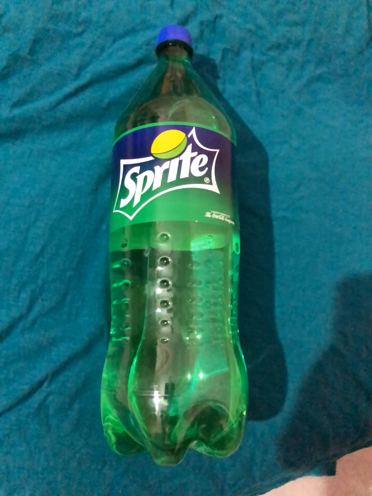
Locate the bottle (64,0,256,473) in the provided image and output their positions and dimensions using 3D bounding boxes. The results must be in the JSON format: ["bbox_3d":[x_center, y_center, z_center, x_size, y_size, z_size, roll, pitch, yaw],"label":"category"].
[{"bbox_3d":[-0.016,-0.028,0.301,0.110,0.070,0.330,1,80,-3],"label":"bottle"}]
